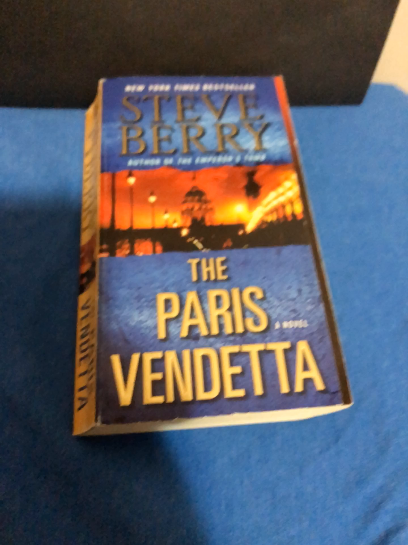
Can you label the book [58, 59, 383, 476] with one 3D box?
[{"bbox_3d":[-0.006,-0.015,0.234,0.120,0.050,0.200,-2,62,-11],"label":"book"}]
